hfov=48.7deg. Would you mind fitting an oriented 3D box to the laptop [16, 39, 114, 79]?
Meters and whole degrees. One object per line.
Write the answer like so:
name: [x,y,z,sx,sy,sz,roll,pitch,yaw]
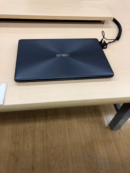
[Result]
laptop: [-0.010,-0.123,0.576,0.345,0.002,0.229,-3,51,-8]
